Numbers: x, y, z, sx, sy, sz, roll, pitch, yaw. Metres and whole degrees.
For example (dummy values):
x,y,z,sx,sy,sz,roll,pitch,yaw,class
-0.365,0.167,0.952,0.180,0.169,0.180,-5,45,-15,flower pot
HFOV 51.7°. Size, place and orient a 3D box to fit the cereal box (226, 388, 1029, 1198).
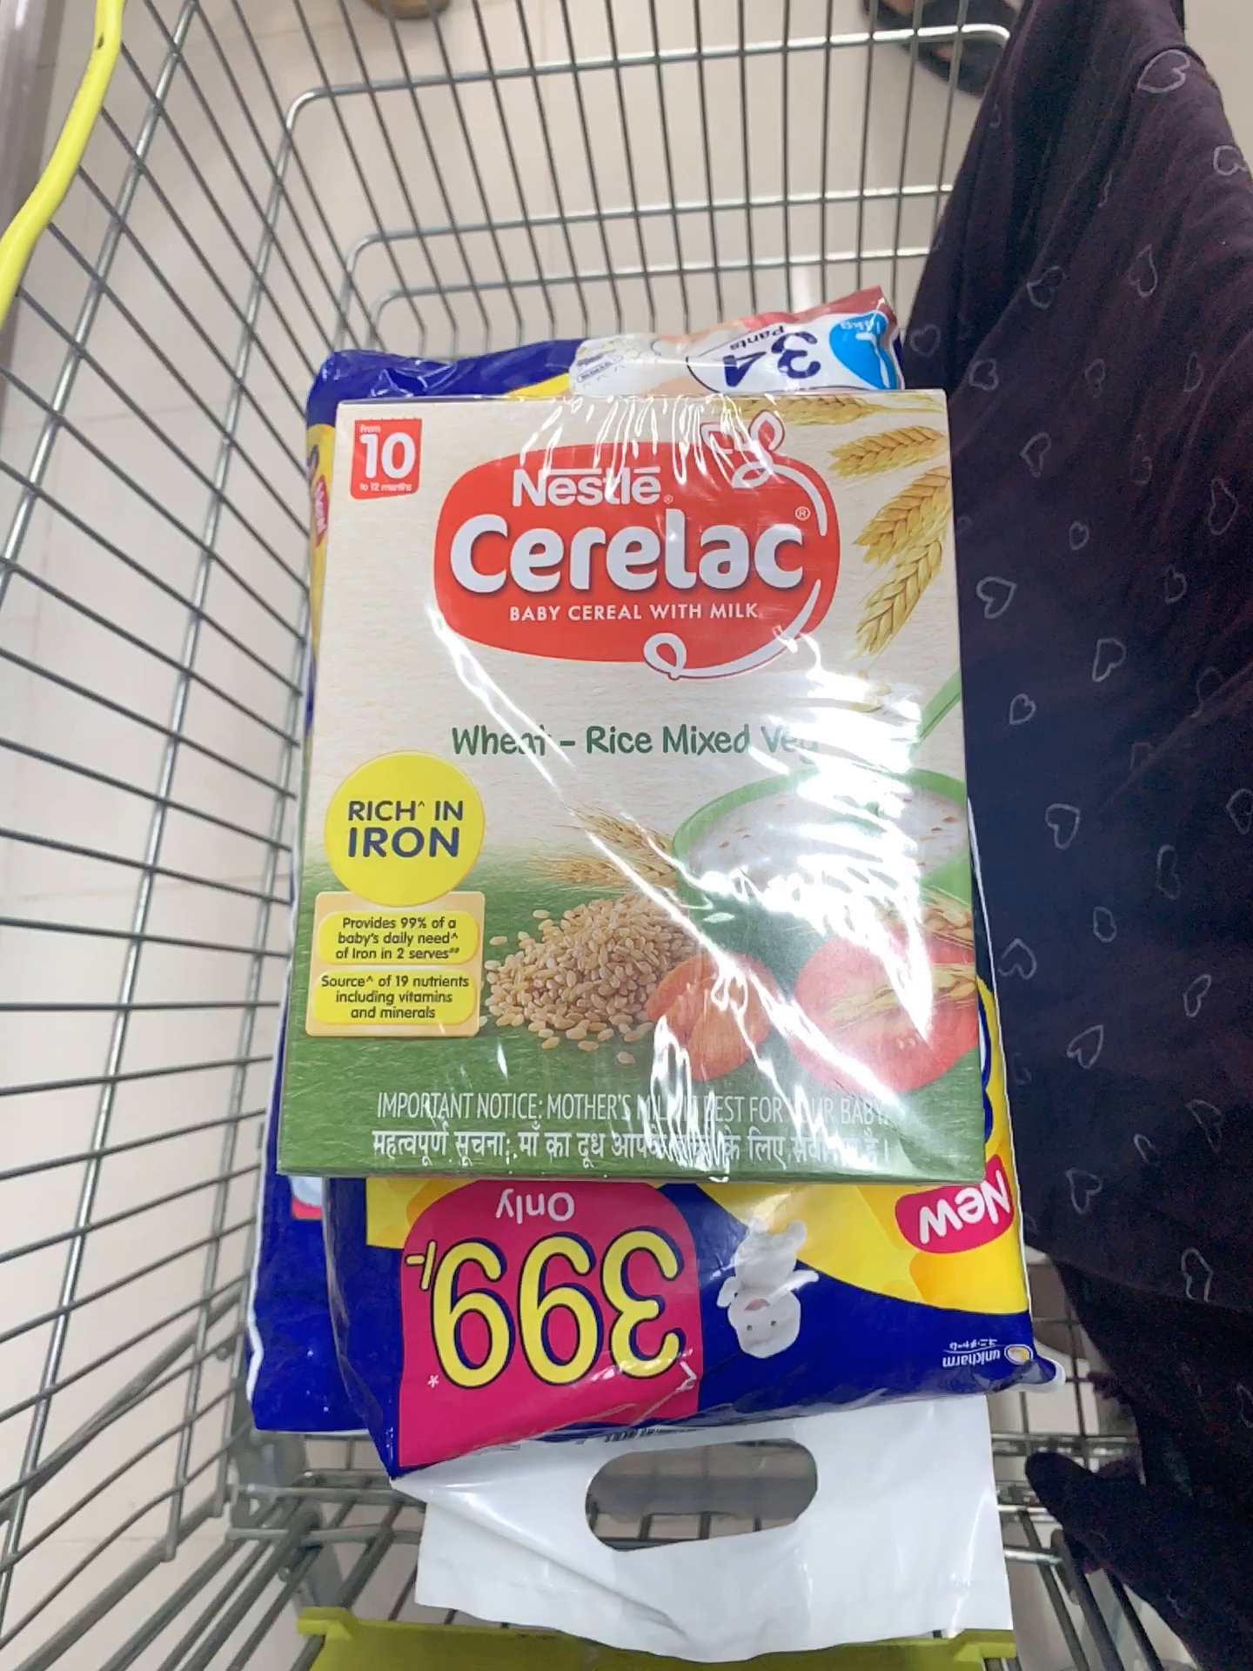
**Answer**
x,y,z,sx,sy,sz,roll,pitch,yaw,class
0.001,-0.009,0.305,0.160,0.050,0.180,0,75,4,cereal box
